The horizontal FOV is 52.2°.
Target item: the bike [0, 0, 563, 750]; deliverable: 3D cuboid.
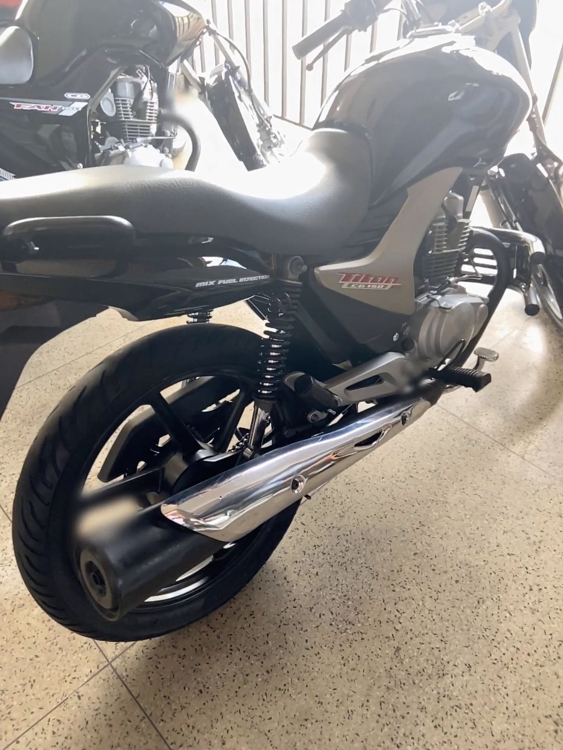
[{"bbox_3d":[0.118,-0.368,1.291,0.775,1.136,1.744,29,47,30],"label":"bike"}]
